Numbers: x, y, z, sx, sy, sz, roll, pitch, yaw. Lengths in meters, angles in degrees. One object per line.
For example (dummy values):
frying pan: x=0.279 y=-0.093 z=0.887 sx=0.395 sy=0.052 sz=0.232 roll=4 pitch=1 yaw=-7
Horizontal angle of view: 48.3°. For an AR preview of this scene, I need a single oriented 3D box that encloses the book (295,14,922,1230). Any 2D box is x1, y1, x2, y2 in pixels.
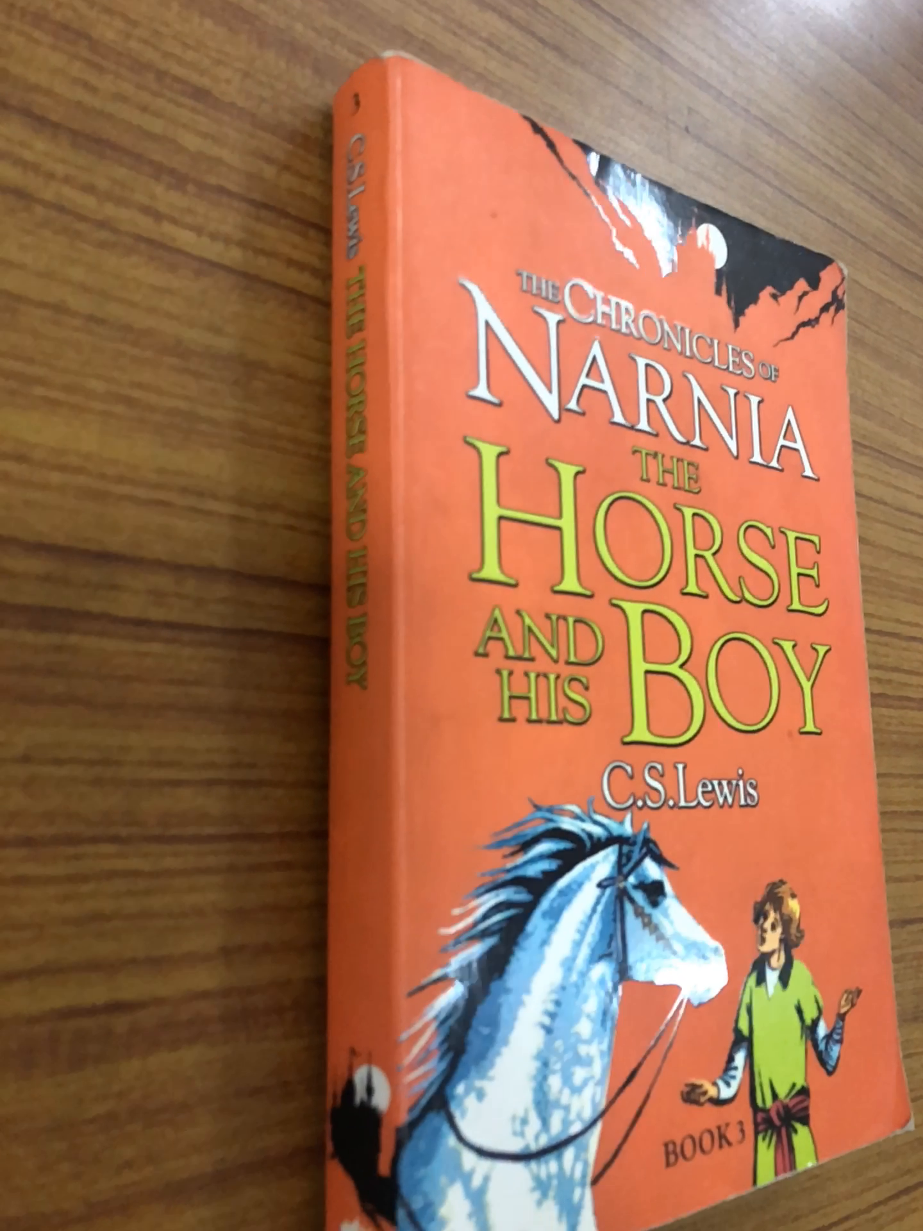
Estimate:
book: x=0.035 y=0.012 z=0.190 sx=0.131 sy=0.030 sz=0.190 roll=7 pitch=77 yaw=-38
